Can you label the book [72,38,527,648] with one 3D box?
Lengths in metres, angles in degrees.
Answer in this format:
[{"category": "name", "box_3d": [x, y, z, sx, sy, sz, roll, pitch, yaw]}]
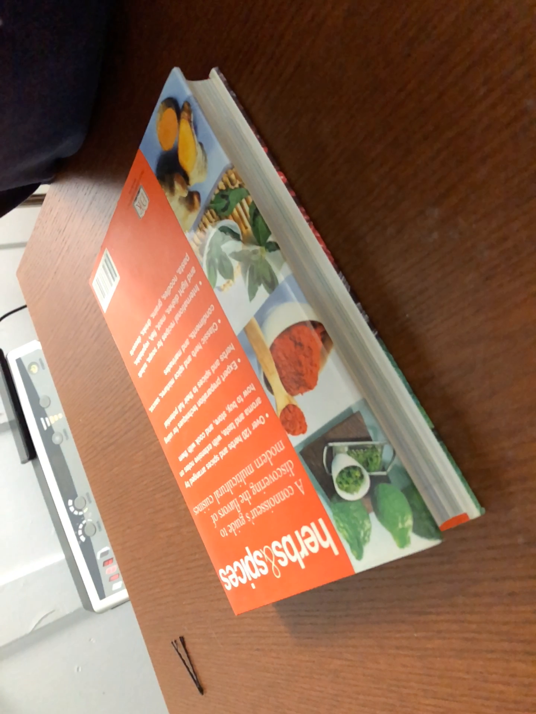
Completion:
[{"category": "book", "box_3d": [-0.022, 0.012, 0.333, 0.211, 0.040, 0.270, -45, 67, 50]}]
